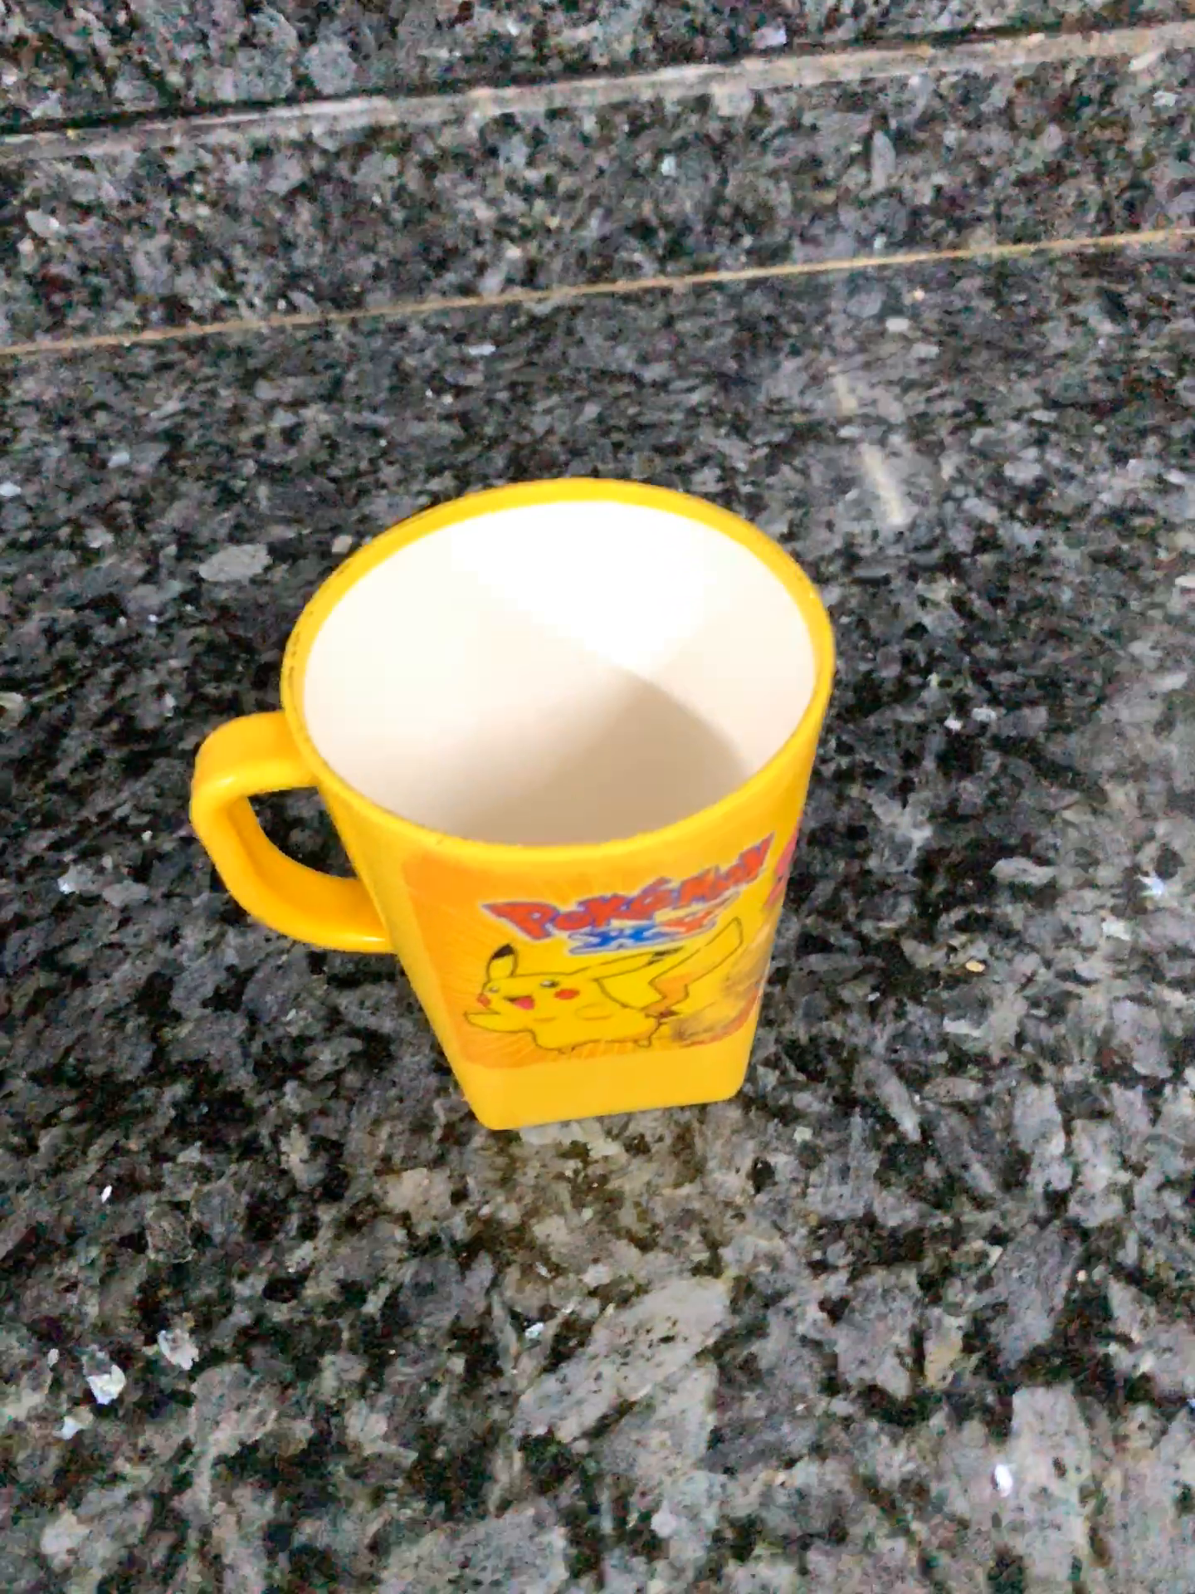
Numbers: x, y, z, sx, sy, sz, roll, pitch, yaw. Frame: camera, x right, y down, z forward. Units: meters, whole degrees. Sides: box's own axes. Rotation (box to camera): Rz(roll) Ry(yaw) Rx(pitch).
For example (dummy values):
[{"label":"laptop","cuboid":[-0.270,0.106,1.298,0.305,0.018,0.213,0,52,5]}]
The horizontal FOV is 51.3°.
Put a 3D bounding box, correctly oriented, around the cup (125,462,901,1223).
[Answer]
[{"label":"cup","cuboid":[-0.012,0.013,0.223,0.100,0.109,0.071,-8,50,-3]}]
